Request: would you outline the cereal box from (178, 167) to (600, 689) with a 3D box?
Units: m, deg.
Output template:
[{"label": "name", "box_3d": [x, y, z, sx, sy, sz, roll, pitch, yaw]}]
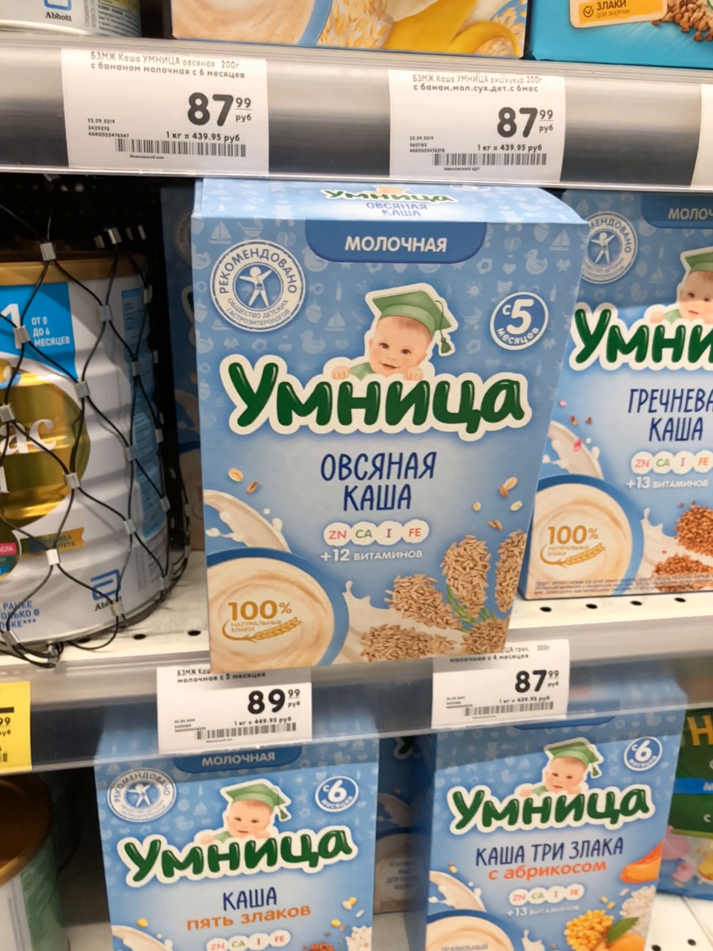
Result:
[{"label": "cereal box", "box_3d": [0.004, -0.013, 0.337, 0.140, 0.209, 0.060, -2, 30, -9]}]
